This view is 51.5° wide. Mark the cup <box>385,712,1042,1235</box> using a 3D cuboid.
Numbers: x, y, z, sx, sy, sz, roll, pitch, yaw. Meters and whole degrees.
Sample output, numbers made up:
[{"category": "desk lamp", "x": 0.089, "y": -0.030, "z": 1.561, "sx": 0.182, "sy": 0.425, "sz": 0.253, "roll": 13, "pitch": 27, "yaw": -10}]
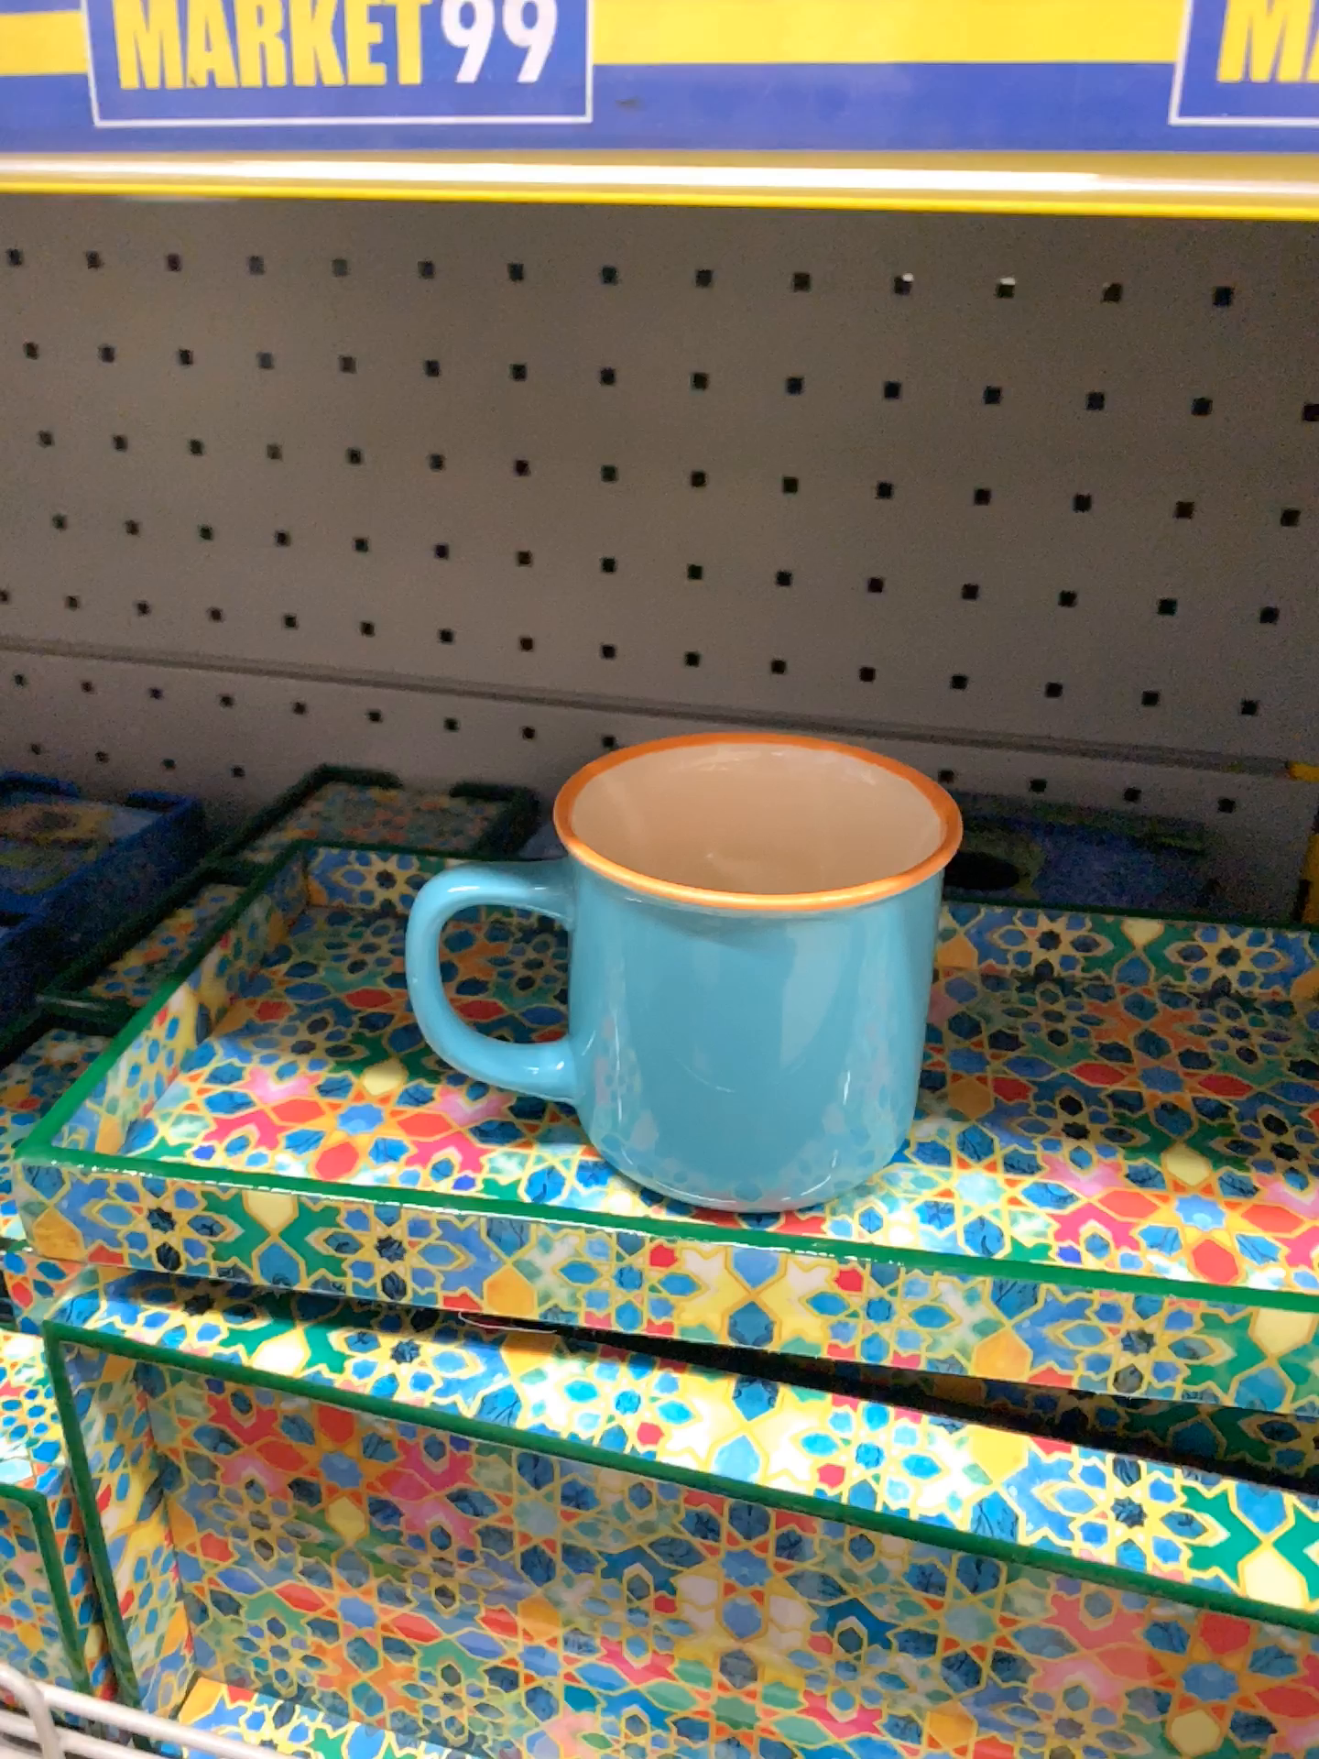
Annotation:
[{"category": "cup", "x": 0.010, "y": 0.017, "z": 0.308, "sx": 0.120, "sy": 0.080, "sz": 0.090, "roll": 1, "pitch": 27, "yaw": 1}]
